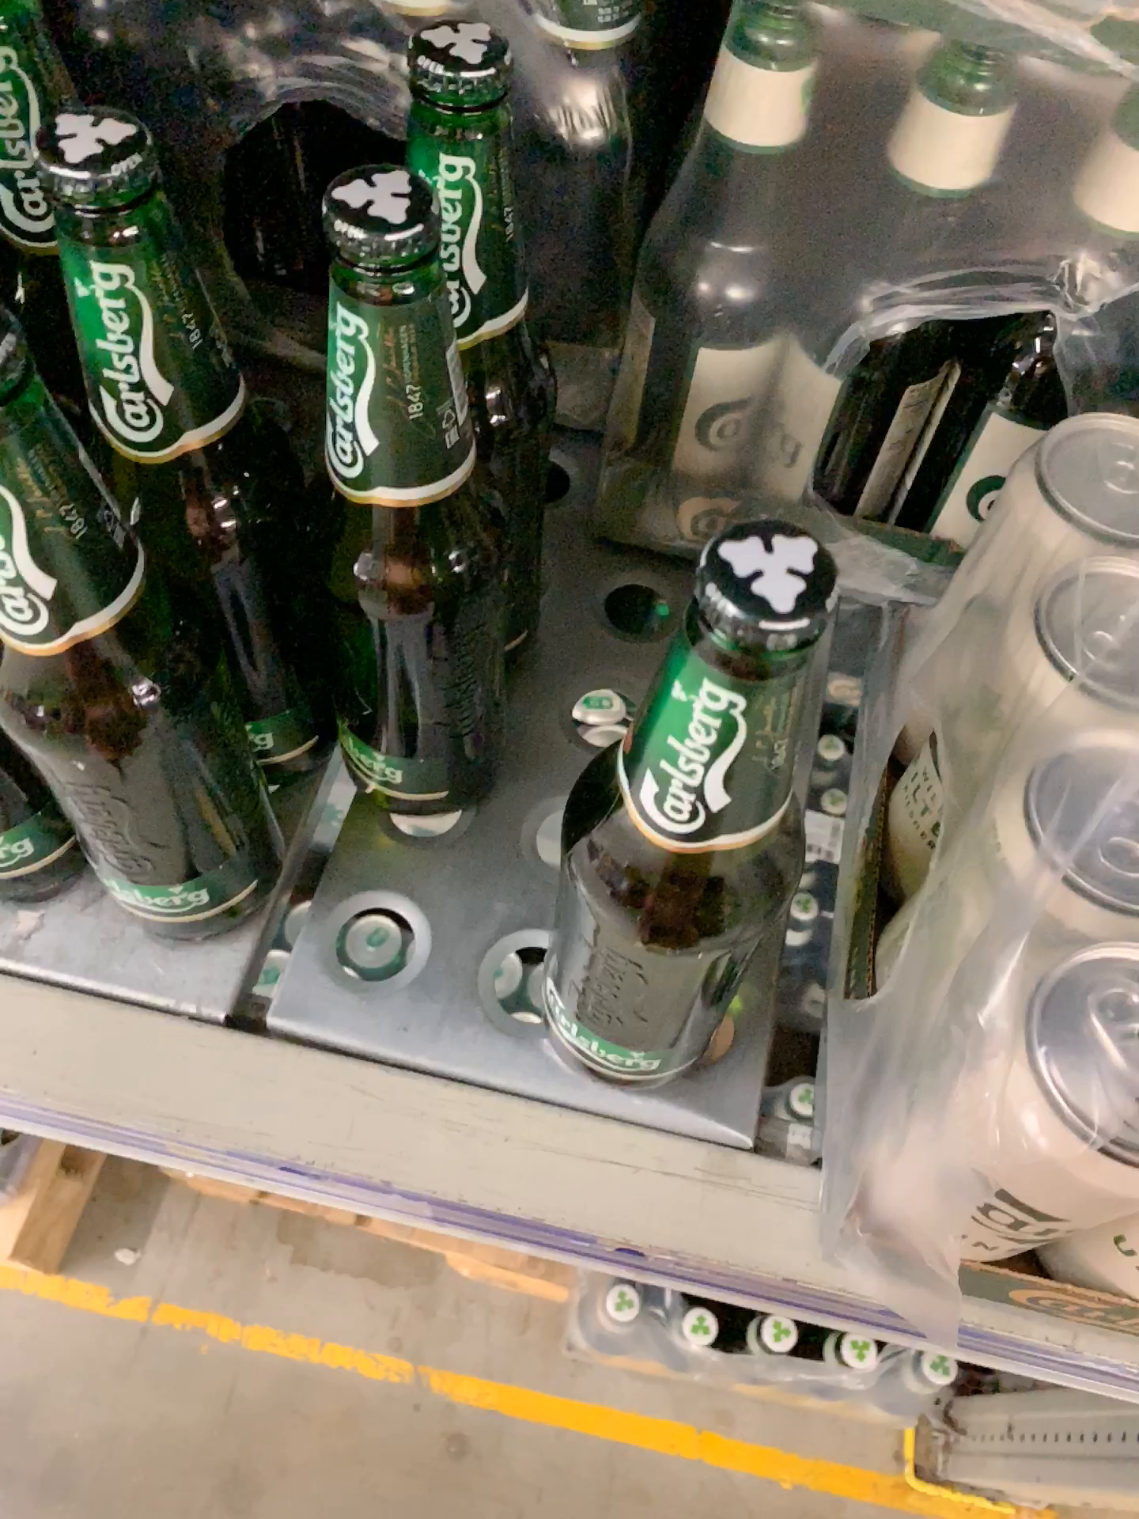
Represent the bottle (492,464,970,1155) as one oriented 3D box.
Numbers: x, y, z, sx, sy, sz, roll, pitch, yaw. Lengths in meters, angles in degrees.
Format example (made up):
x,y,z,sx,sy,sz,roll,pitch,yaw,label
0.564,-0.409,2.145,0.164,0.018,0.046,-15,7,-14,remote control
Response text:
x,y,z,sx,sy,sz,roll,pitch,yaw,label
0.025,0.040,0.325,0.071,0.249,0.060,22,60,8,bottle
